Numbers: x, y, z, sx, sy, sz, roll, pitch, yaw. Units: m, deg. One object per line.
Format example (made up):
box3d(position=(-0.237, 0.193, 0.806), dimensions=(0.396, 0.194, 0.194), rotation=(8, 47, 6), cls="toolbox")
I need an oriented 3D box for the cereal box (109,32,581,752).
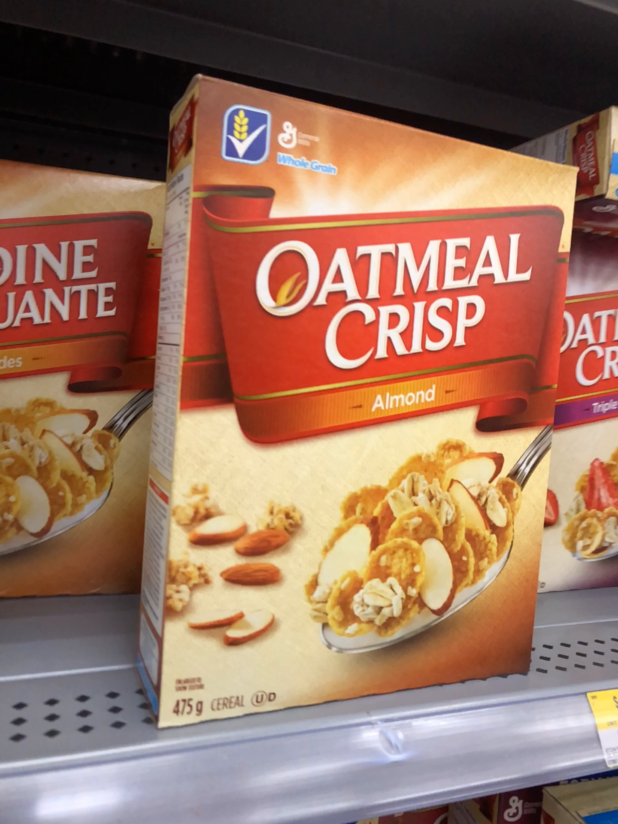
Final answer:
box3d(position=(0.023, -0.002, 0.330), dimensions=(0.210, 0.280, 0.050), rotation=(3, 3, -25), cls="cereal box")
